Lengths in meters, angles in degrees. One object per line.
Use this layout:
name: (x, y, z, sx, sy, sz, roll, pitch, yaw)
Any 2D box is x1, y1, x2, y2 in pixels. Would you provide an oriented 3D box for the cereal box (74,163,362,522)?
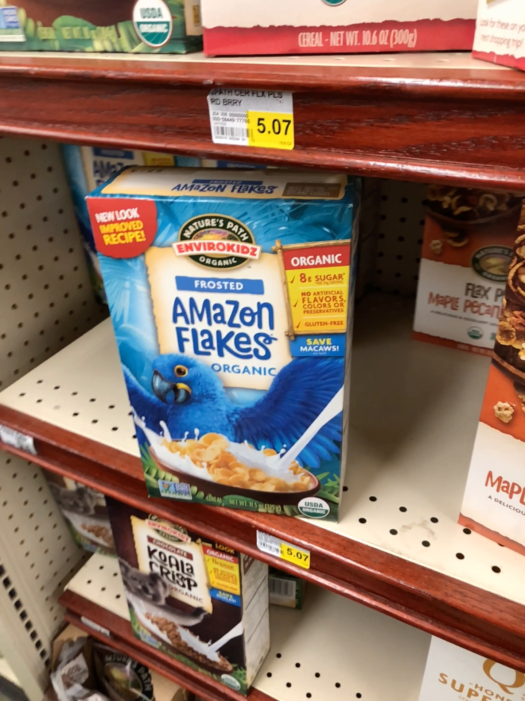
cereal box: (-0.016, 0.005, 0.419, 0.160, 0.259, 0.060, 4, 36, 12)
